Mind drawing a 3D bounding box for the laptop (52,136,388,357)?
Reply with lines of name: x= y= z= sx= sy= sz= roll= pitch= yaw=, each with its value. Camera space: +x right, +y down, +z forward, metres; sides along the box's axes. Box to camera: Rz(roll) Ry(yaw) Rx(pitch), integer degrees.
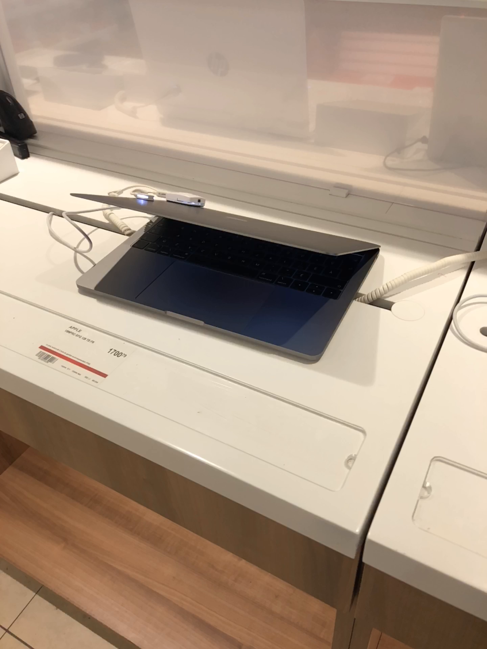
laptop: x=-0.020 y=-0.108 z=0.608 sx=0.304 sy=0.104 sz=0.202 roll=16 pitch=44 yaw=22
